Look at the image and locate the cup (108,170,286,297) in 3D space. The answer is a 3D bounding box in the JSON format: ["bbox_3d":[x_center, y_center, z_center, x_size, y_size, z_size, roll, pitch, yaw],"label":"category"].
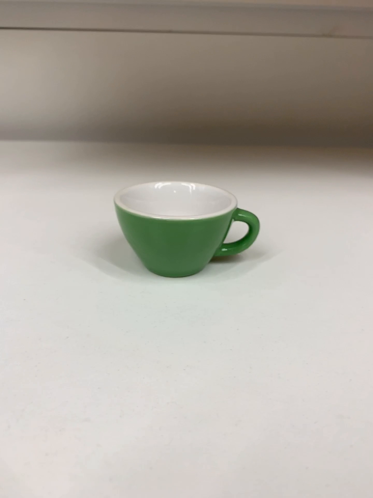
[{"bbox_3d":[0.003,-0.011,0.190,0.070,0.040,0.060,0,25,-3],"label":"cup"}]
